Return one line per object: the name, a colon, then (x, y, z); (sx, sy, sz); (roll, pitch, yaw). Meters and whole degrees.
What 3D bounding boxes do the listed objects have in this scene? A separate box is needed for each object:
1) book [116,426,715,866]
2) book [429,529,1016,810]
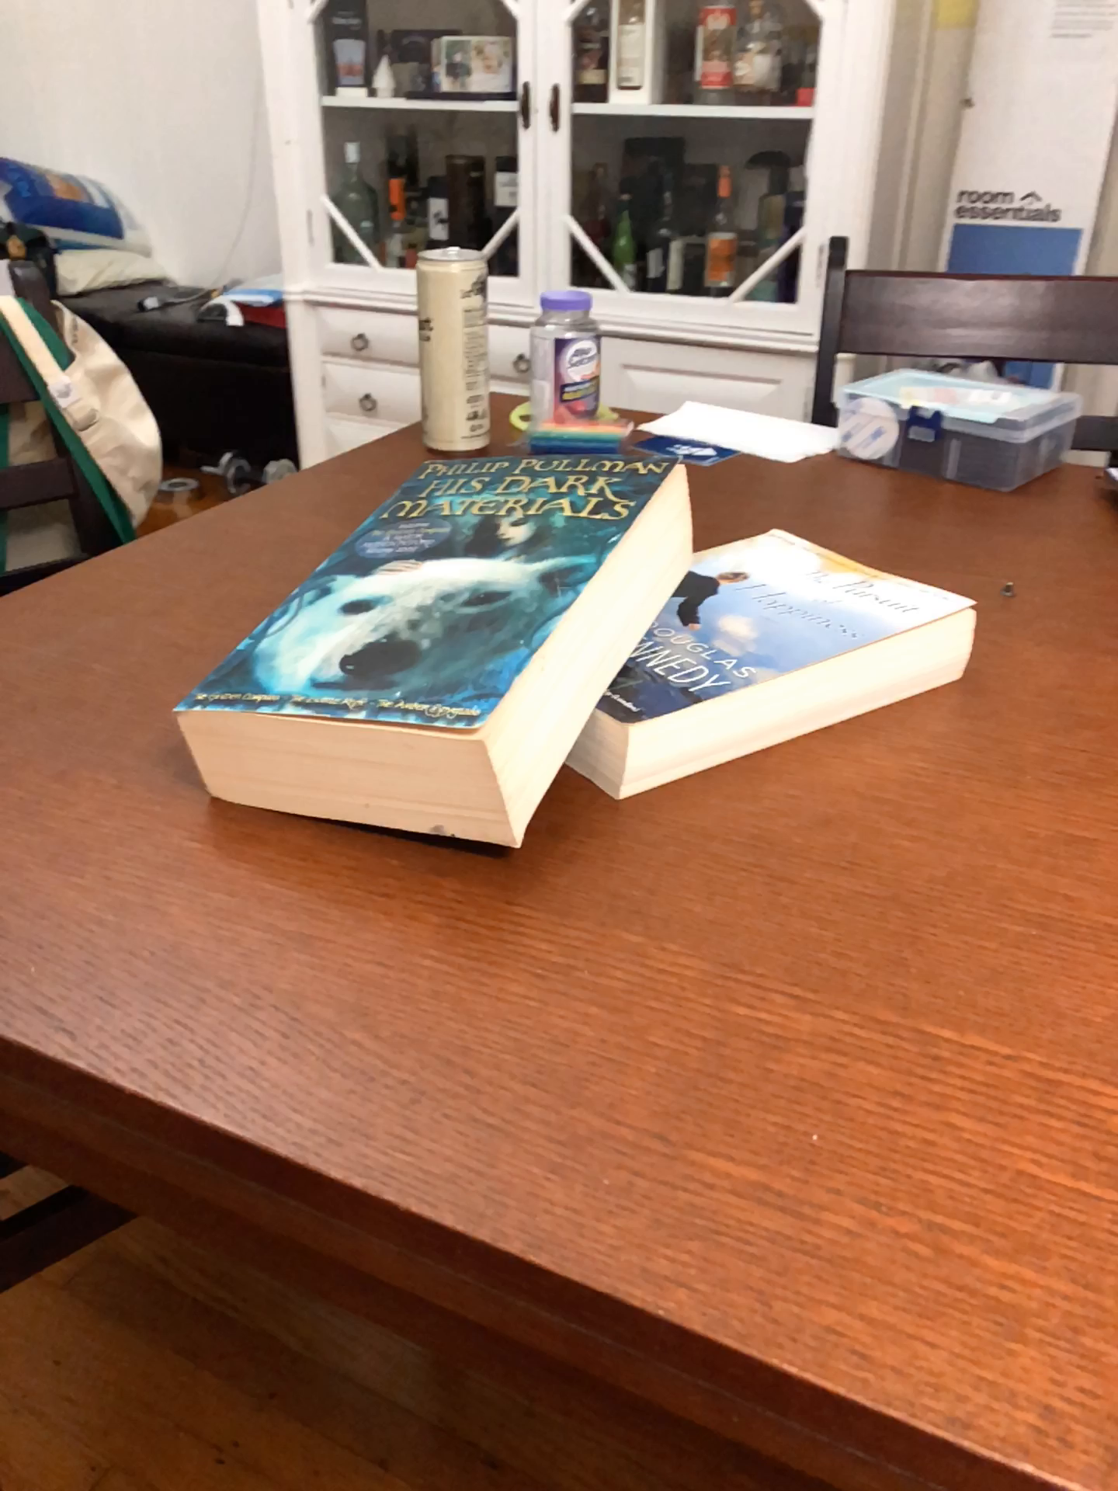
book: (-0.048, -0.063, 0.555); (0.170, 0.060, 0.242); (7, 41, 23)
book: (0.080, -0.052, 0.627); (0.241, 0.040, 0.171); (-18, 27, -26)
